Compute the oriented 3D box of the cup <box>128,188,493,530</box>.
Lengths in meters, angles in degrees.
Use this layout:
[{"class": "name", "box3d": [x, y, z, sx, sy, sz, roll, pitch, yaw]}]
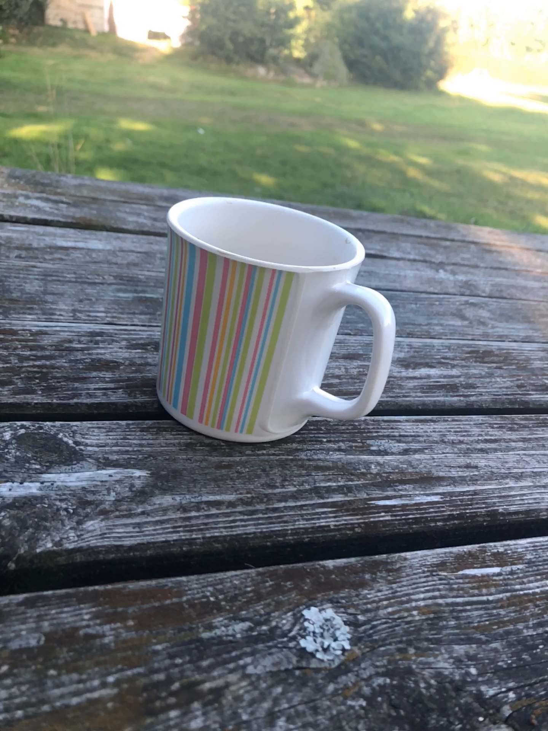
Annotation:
[{"class": "cup", "box3d": [0.012, -0.015, 0.301, 0.133, 0.096, 0.099, 29, 35, 28]}]
